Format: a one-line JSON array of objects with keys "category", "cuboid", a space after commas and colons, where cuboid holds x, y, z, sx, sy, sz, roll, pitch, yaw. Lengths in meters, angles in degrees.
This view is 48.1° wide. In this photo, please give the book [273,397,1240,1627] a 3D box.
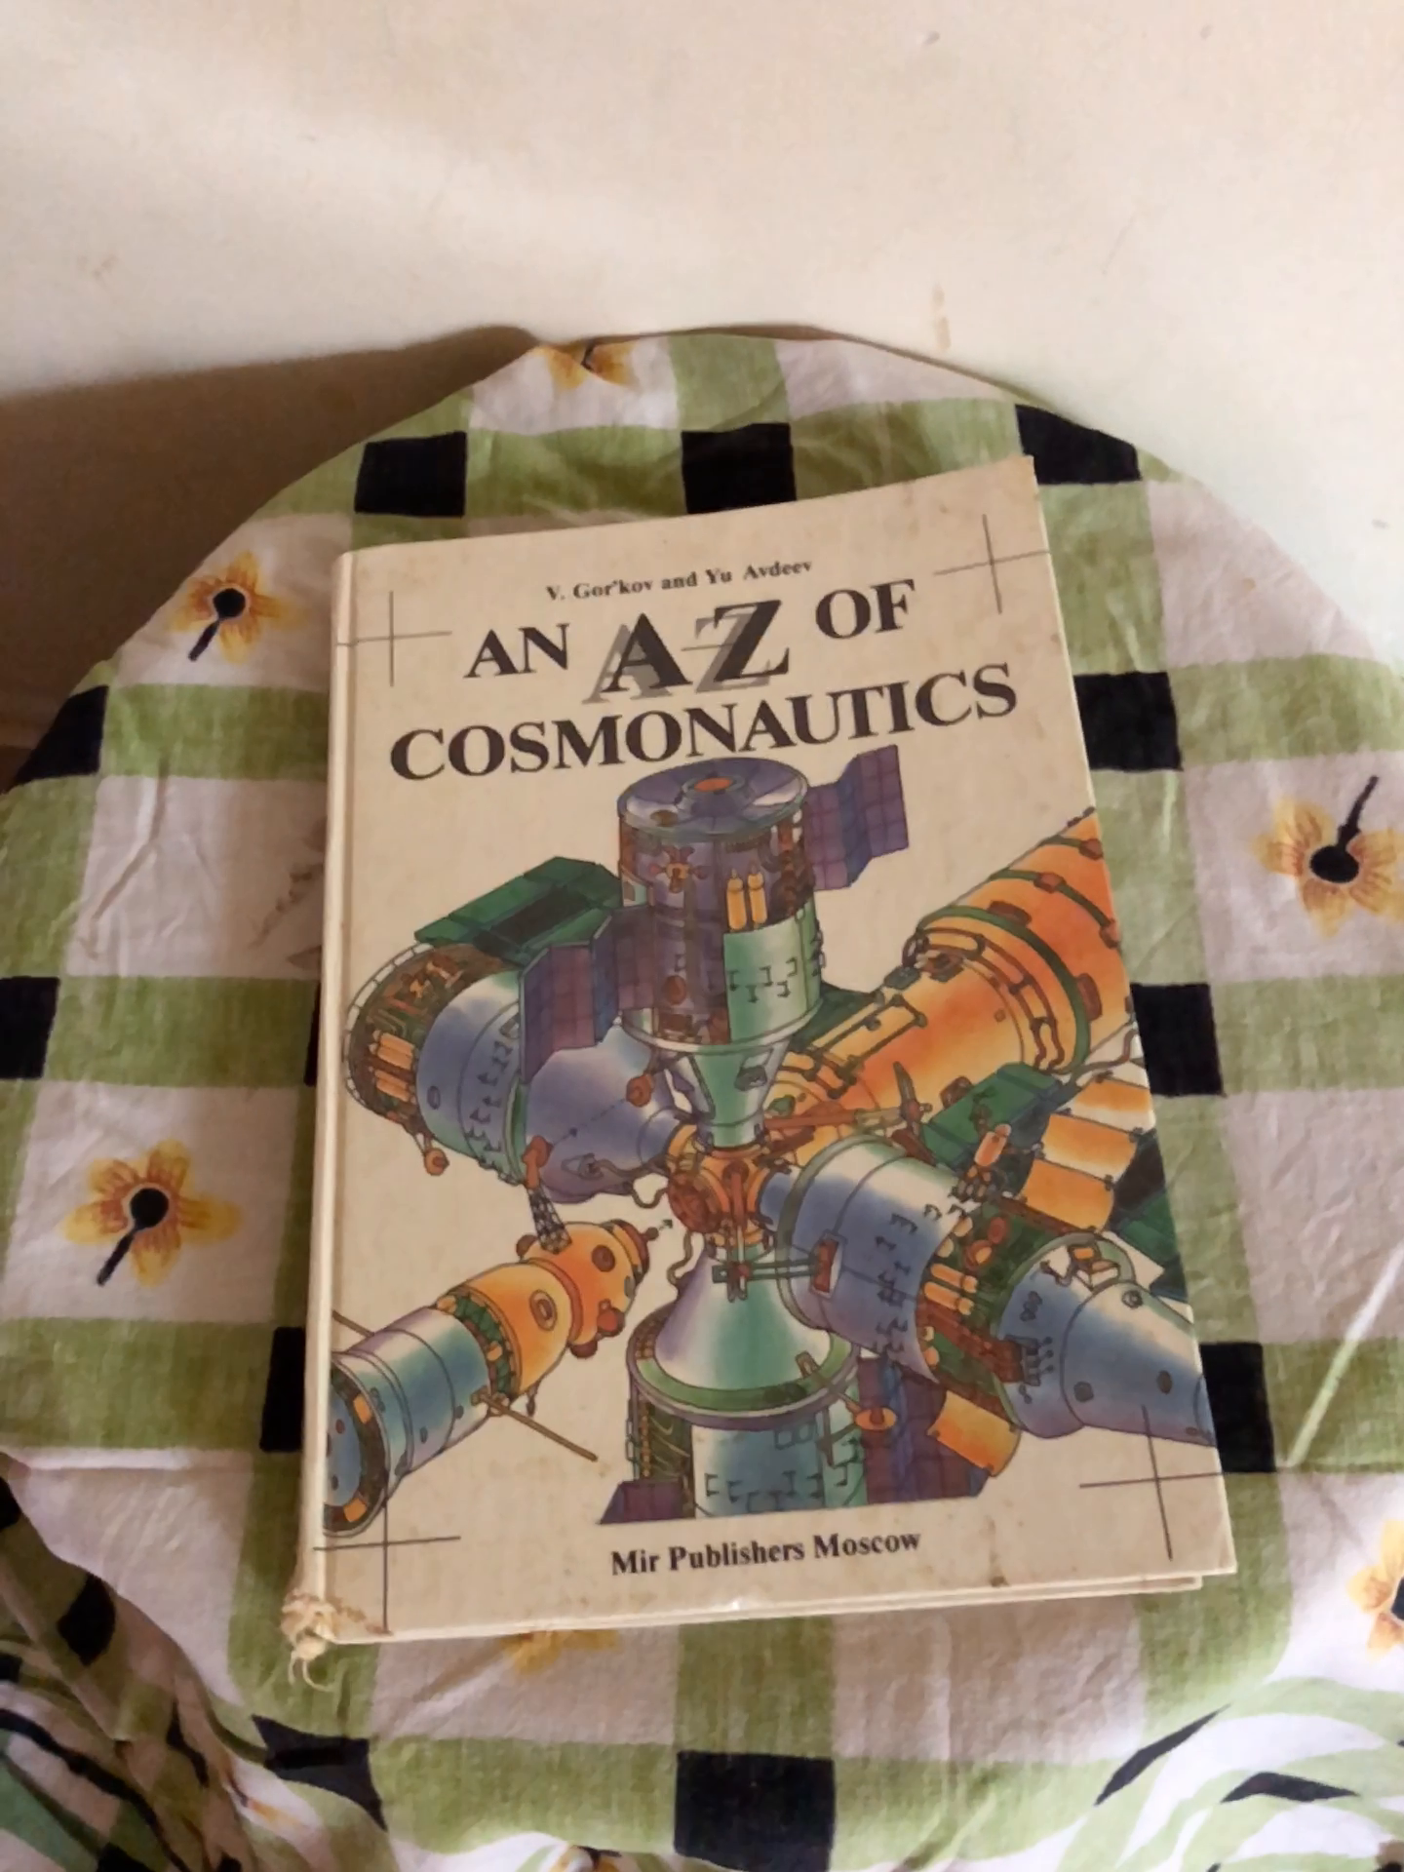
[{"category": "book", "cuboid": [0.001, 0.008, 0.371, 0.180, 0.060, 0.270, -5, 67, 0]}]
